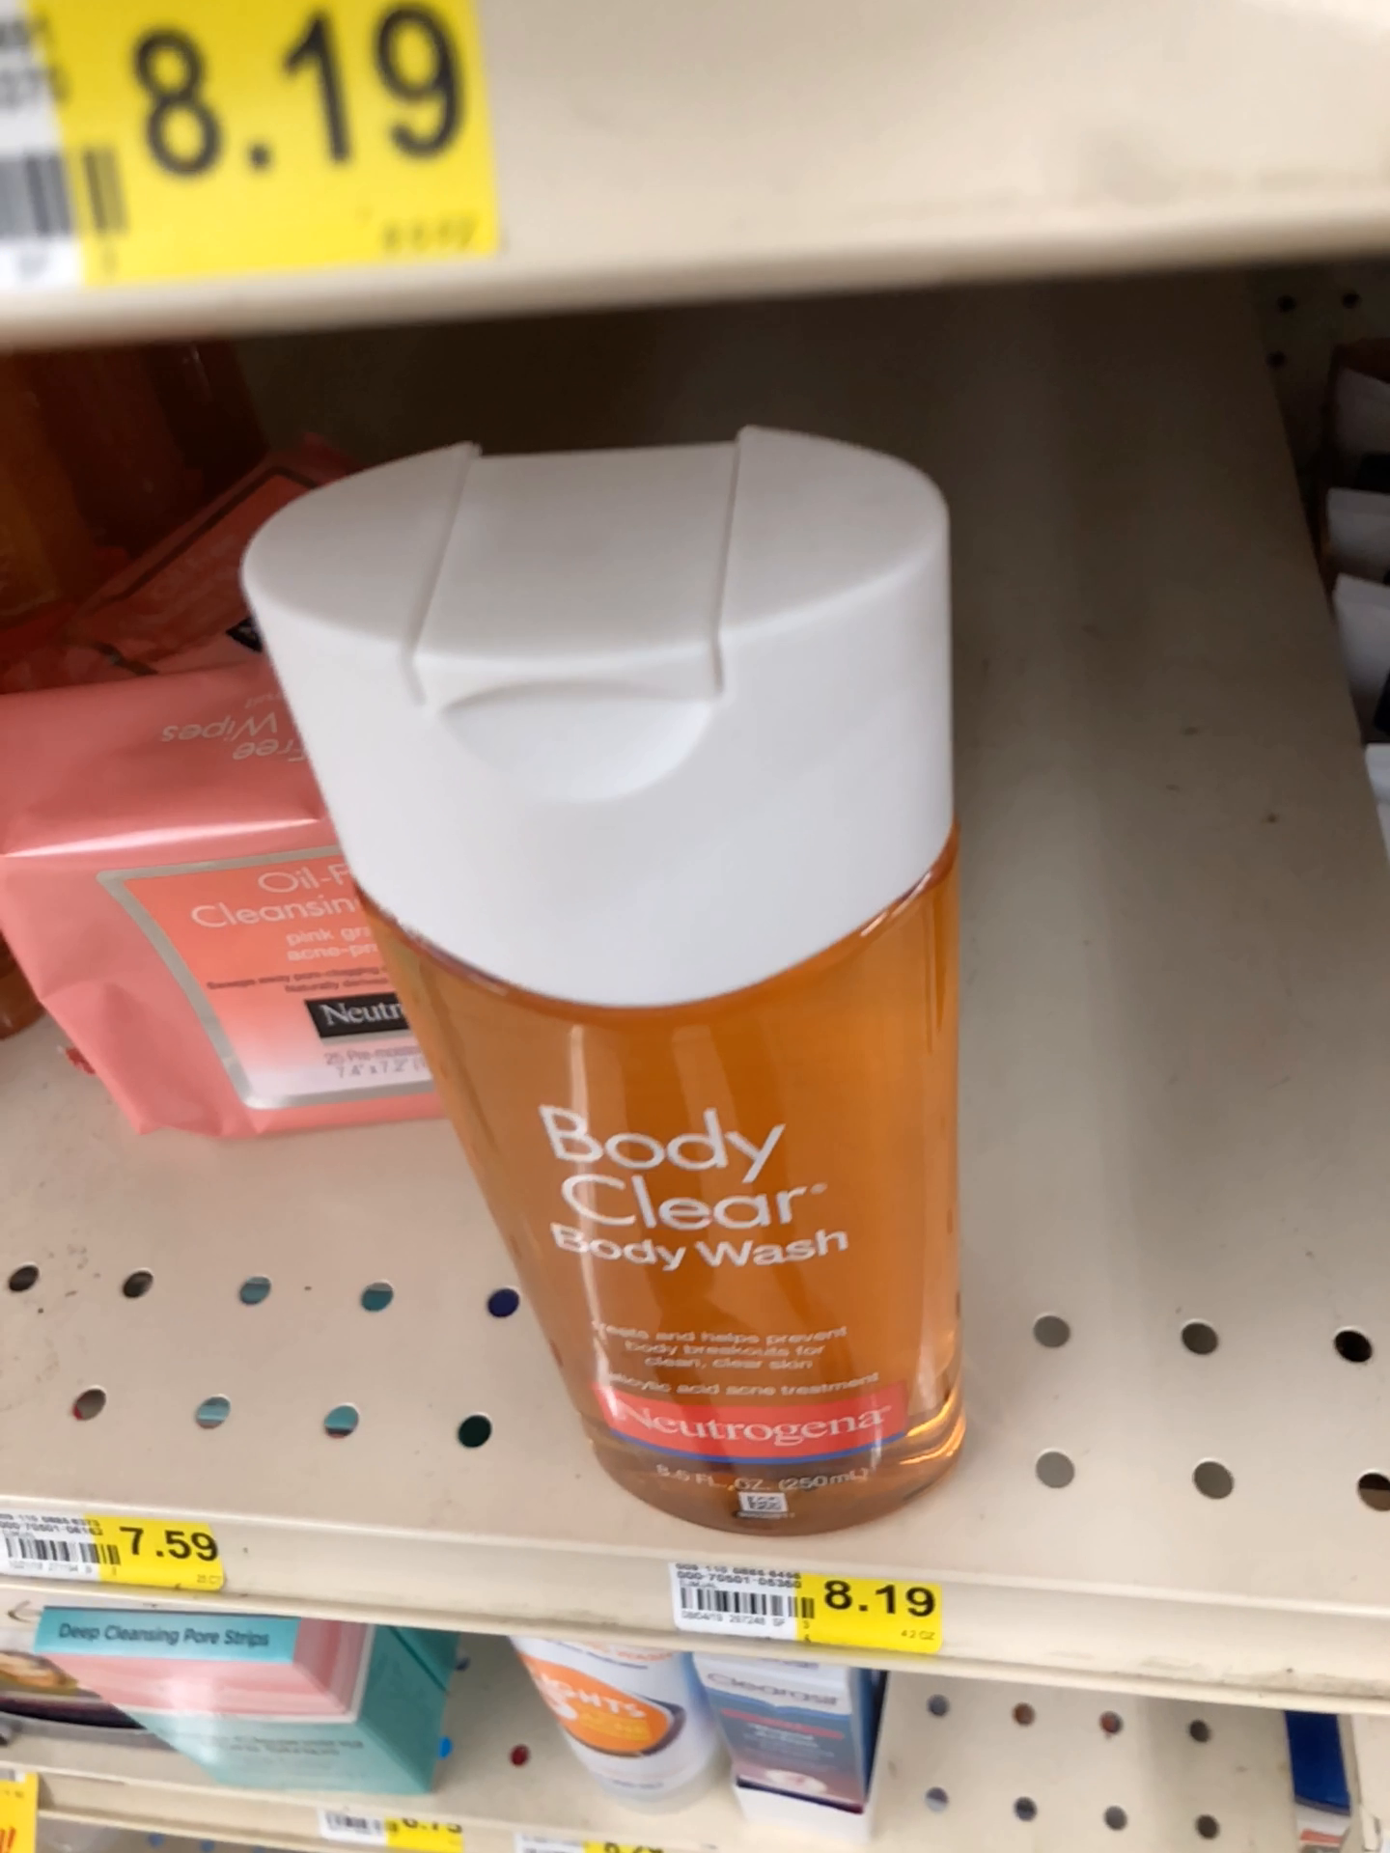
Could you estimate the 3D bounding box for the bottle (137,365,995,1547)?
[{"bbox_3d":[0.004,0.026,0.209,0.070,0.190,0.045,0,50,10],"label":"bottle"}]
